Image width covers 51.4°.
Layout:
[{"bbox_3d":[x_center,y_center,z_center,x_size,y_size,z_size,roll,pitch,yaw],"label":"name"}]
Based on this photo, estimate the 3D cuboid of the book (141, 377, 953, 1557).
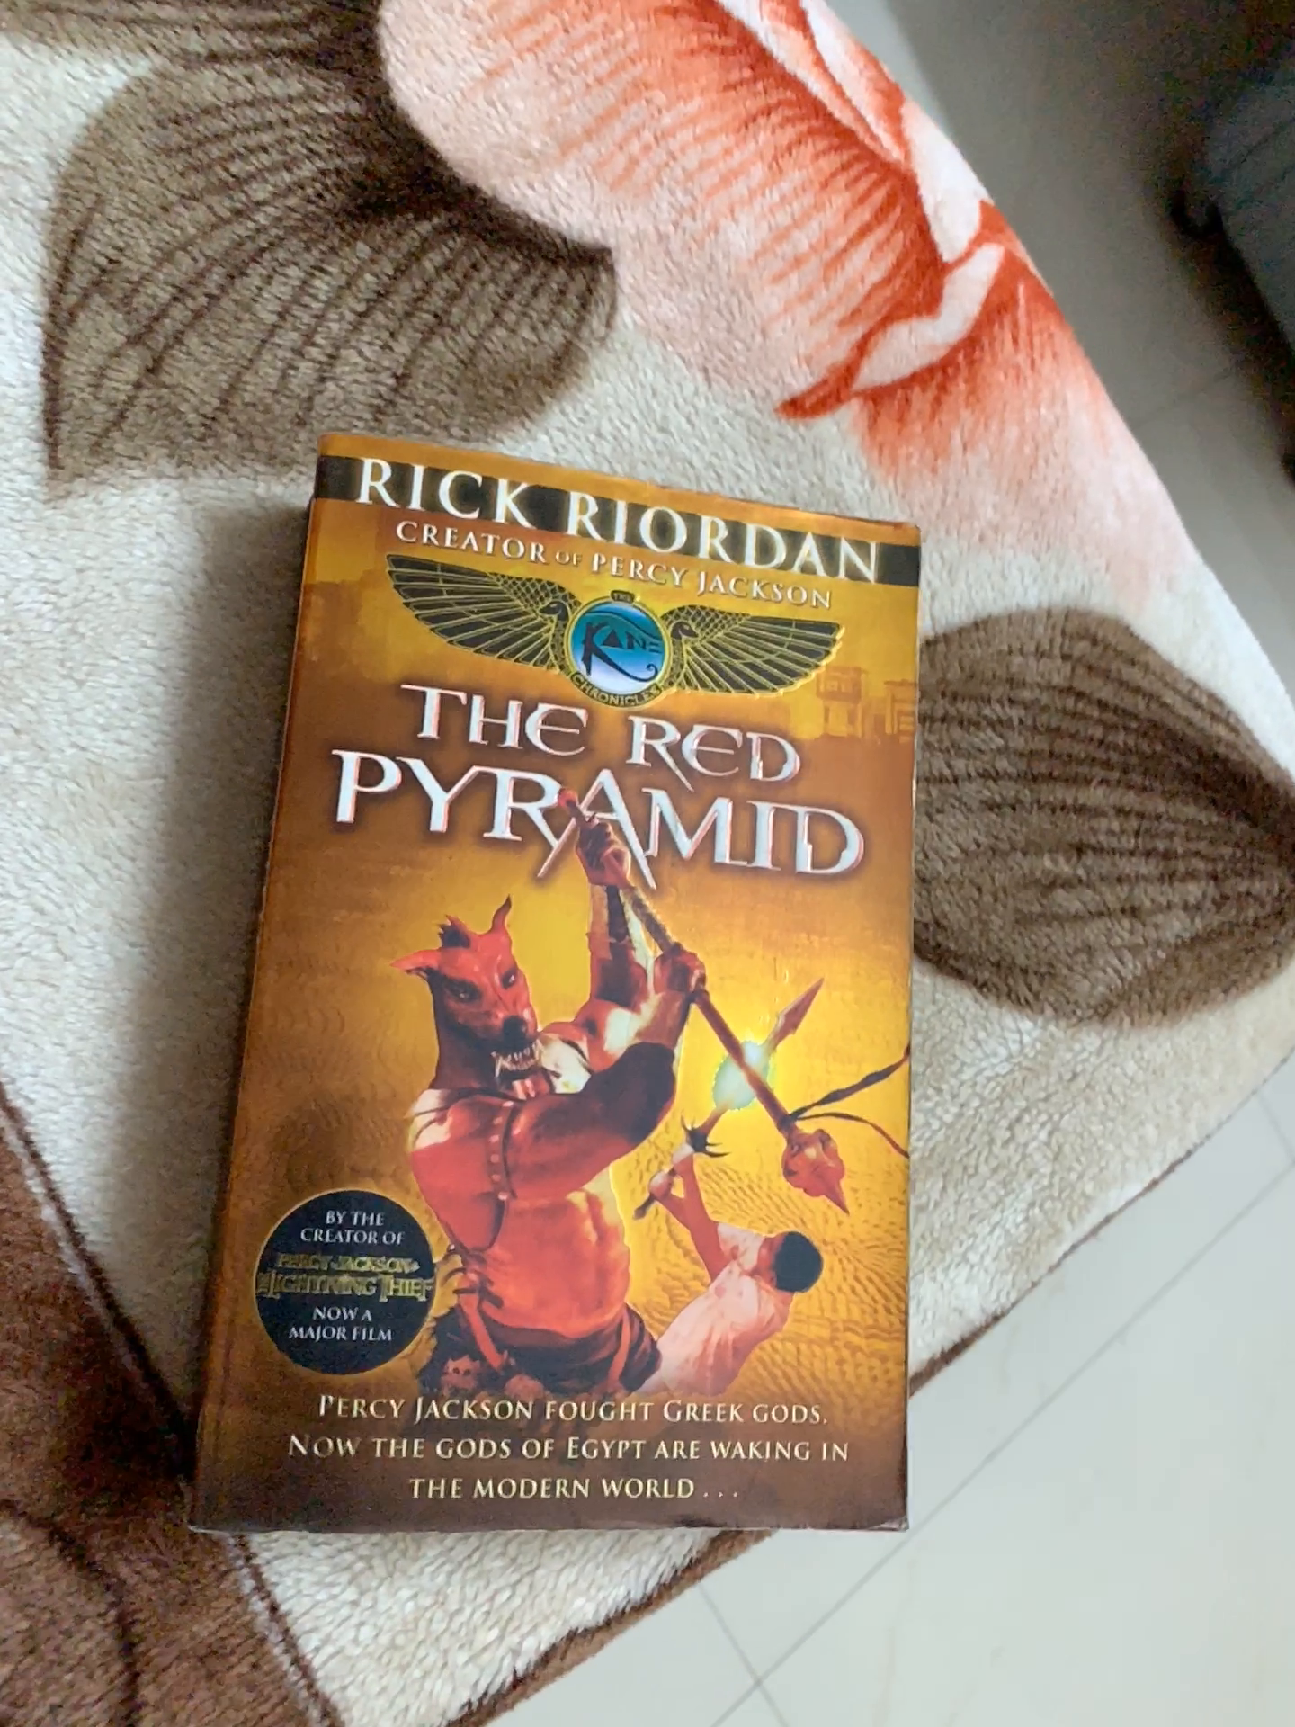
[{"bbox_3d":[-0.013,0.020,0.288,0.150,0.040,0.220,7,76,-16],"label":"book"}]
